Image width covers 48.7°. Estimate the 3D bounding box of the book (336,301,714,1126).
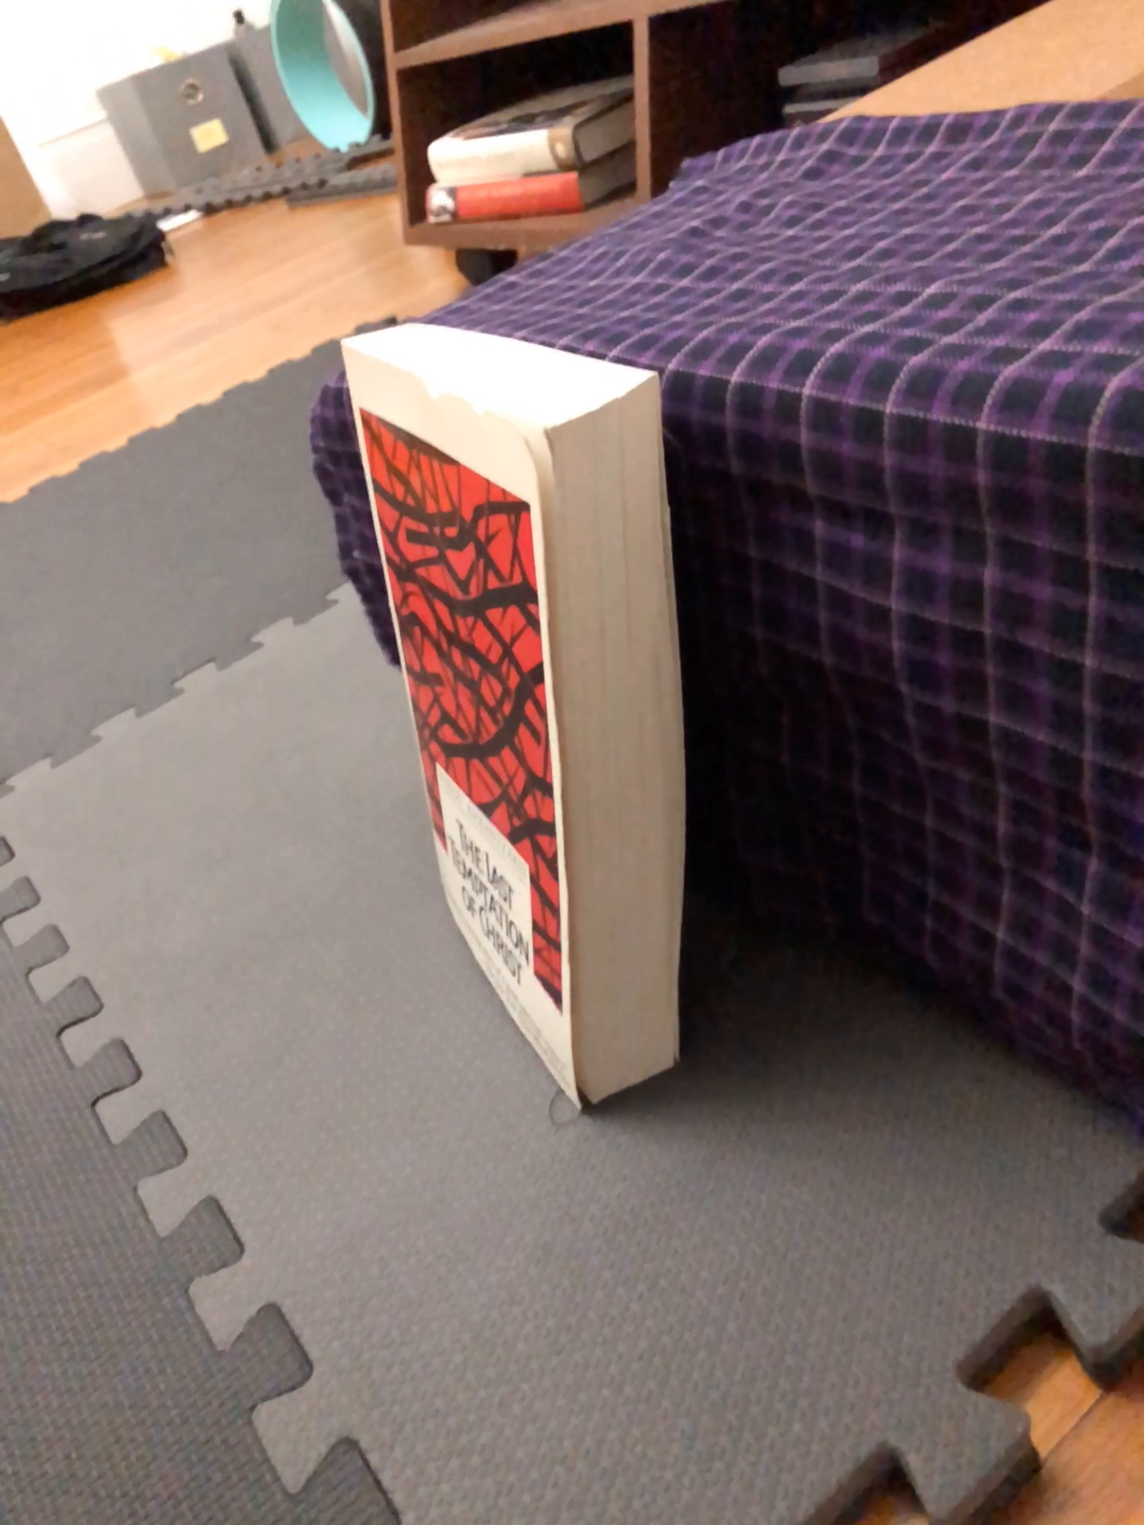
[{"bbox_3d":[-0.017,-0.023,0.392,0.050,0.209,0.151,-14,27,-12],"label":"book"}]
